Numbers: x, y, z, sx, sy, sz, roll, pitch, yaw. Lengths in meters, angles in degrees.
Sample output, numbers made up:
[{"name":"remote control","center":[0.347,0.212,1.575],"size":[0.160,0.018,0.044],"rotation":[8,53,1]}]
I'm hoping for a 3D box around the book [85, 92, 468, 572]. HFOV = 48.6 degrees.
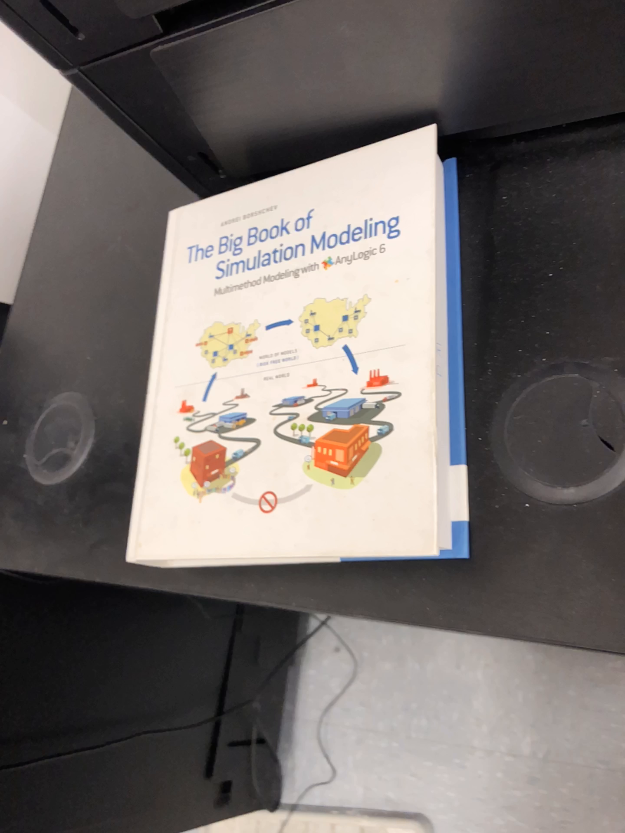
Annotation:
[{"name":"book","center":[-0.022,-0.039,0.409],"size":[0.211,0.050,0.250],"rotation":[-8,69,29]}]
